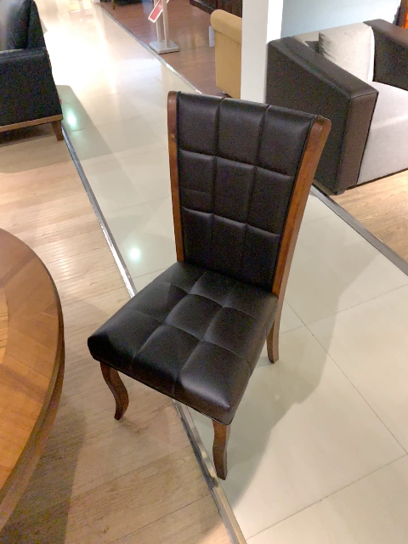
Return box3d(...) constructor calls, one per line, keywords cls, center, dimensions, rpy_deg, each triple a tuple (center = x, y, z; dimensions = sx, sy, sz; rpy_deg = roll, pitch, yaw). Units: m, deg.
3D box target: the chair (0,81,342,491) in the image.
box3d(cls="chair", center=(-0.028, 0.059, 1.226), dimensions=(0.531, 0.936, 0.602), rpy_deg=(19, 48, 22))
